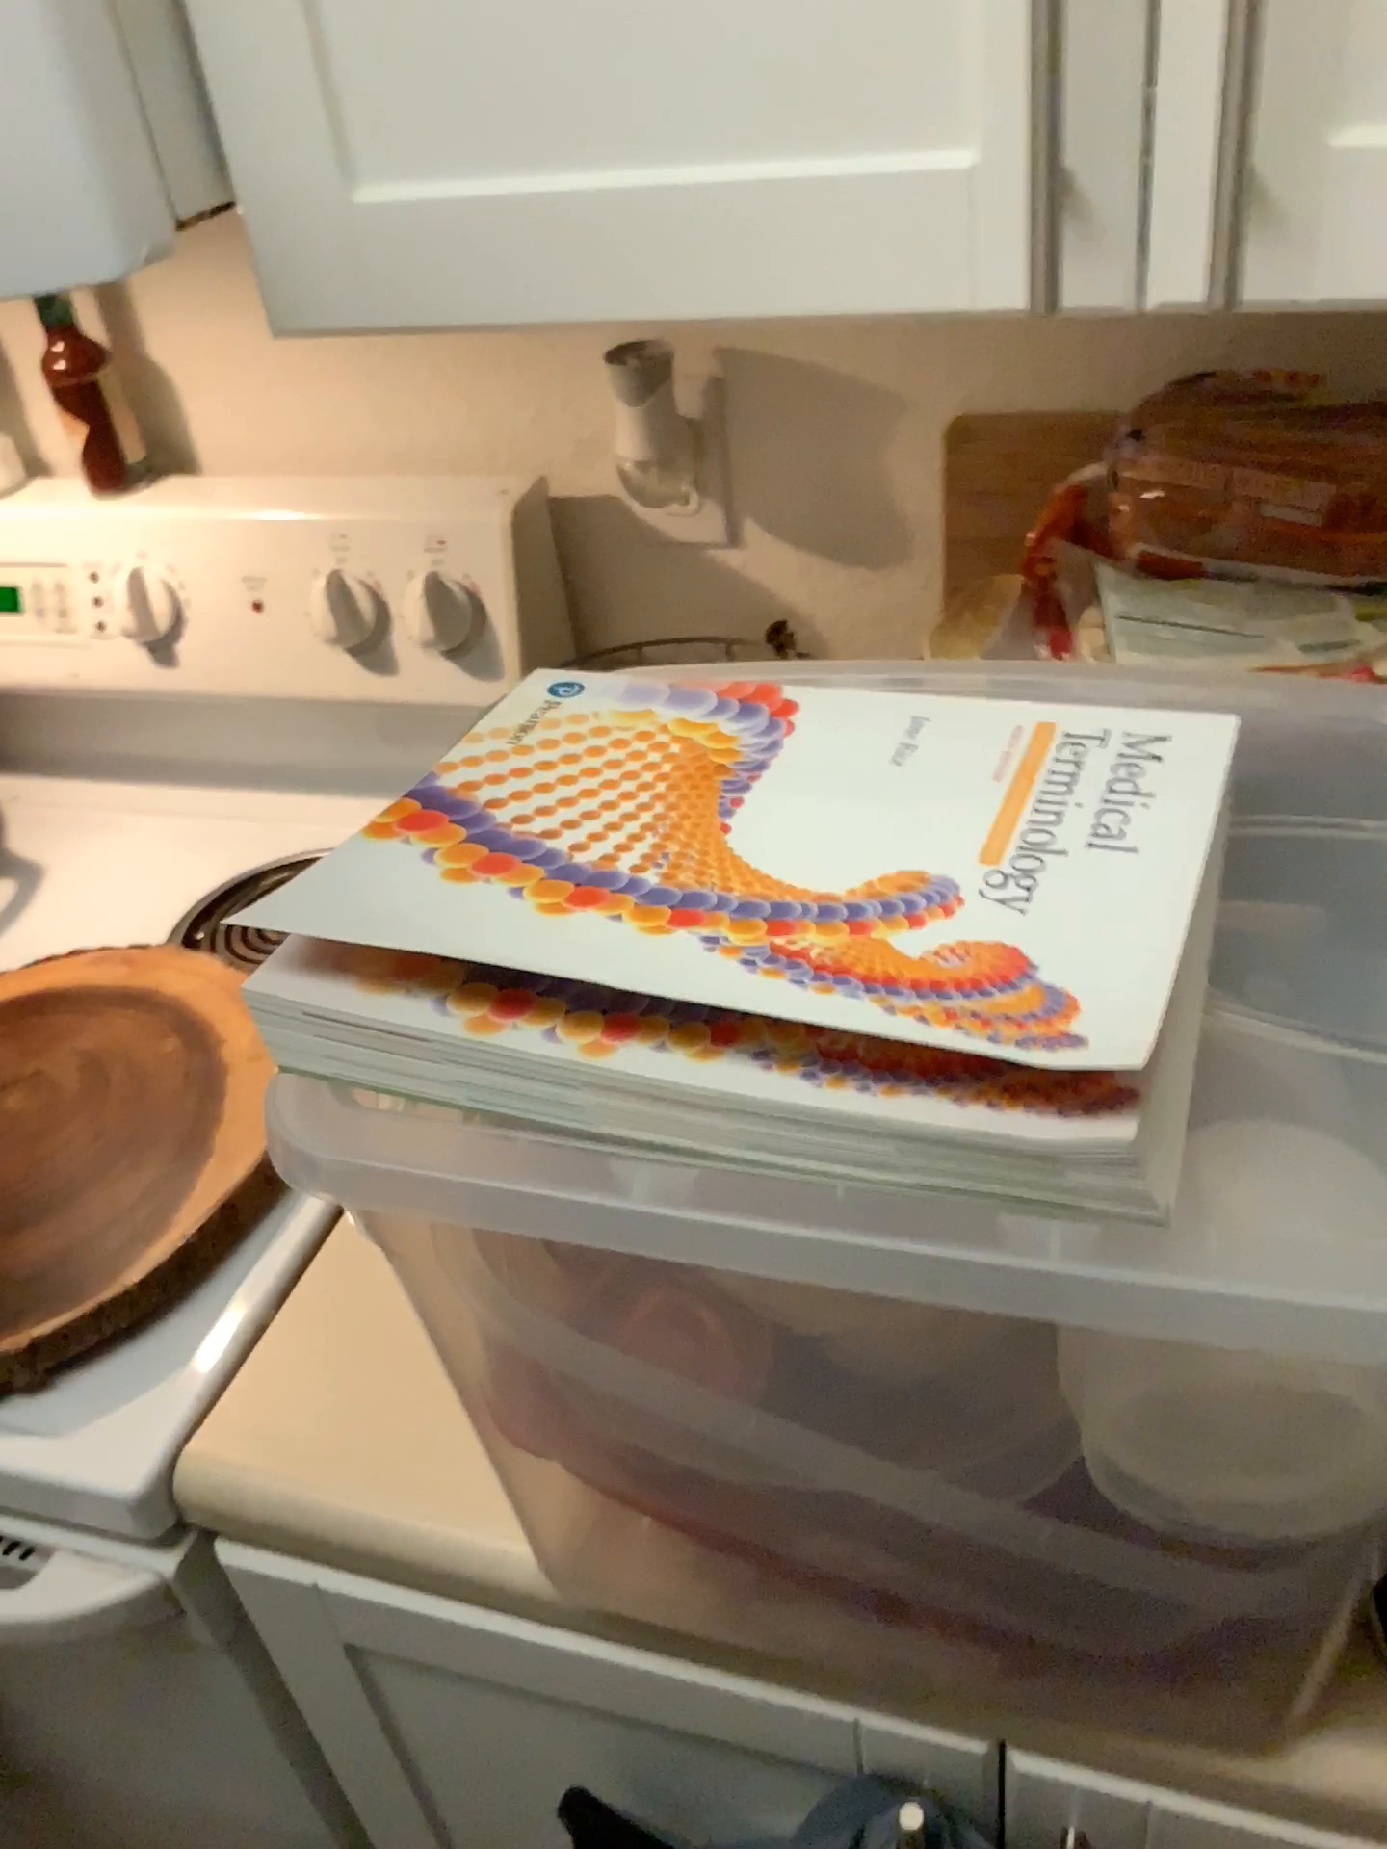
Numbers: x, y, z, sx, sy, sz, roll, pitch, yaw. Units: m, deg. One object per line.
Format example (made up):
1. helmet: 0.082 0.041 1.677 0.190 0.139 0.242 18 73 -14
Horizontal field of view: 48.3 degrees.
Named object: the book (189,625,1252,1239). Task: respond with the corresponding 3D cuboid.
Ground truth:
1. book: 0.025 -0.021 0.514 0.290 0.050 0.230 6 38 18
